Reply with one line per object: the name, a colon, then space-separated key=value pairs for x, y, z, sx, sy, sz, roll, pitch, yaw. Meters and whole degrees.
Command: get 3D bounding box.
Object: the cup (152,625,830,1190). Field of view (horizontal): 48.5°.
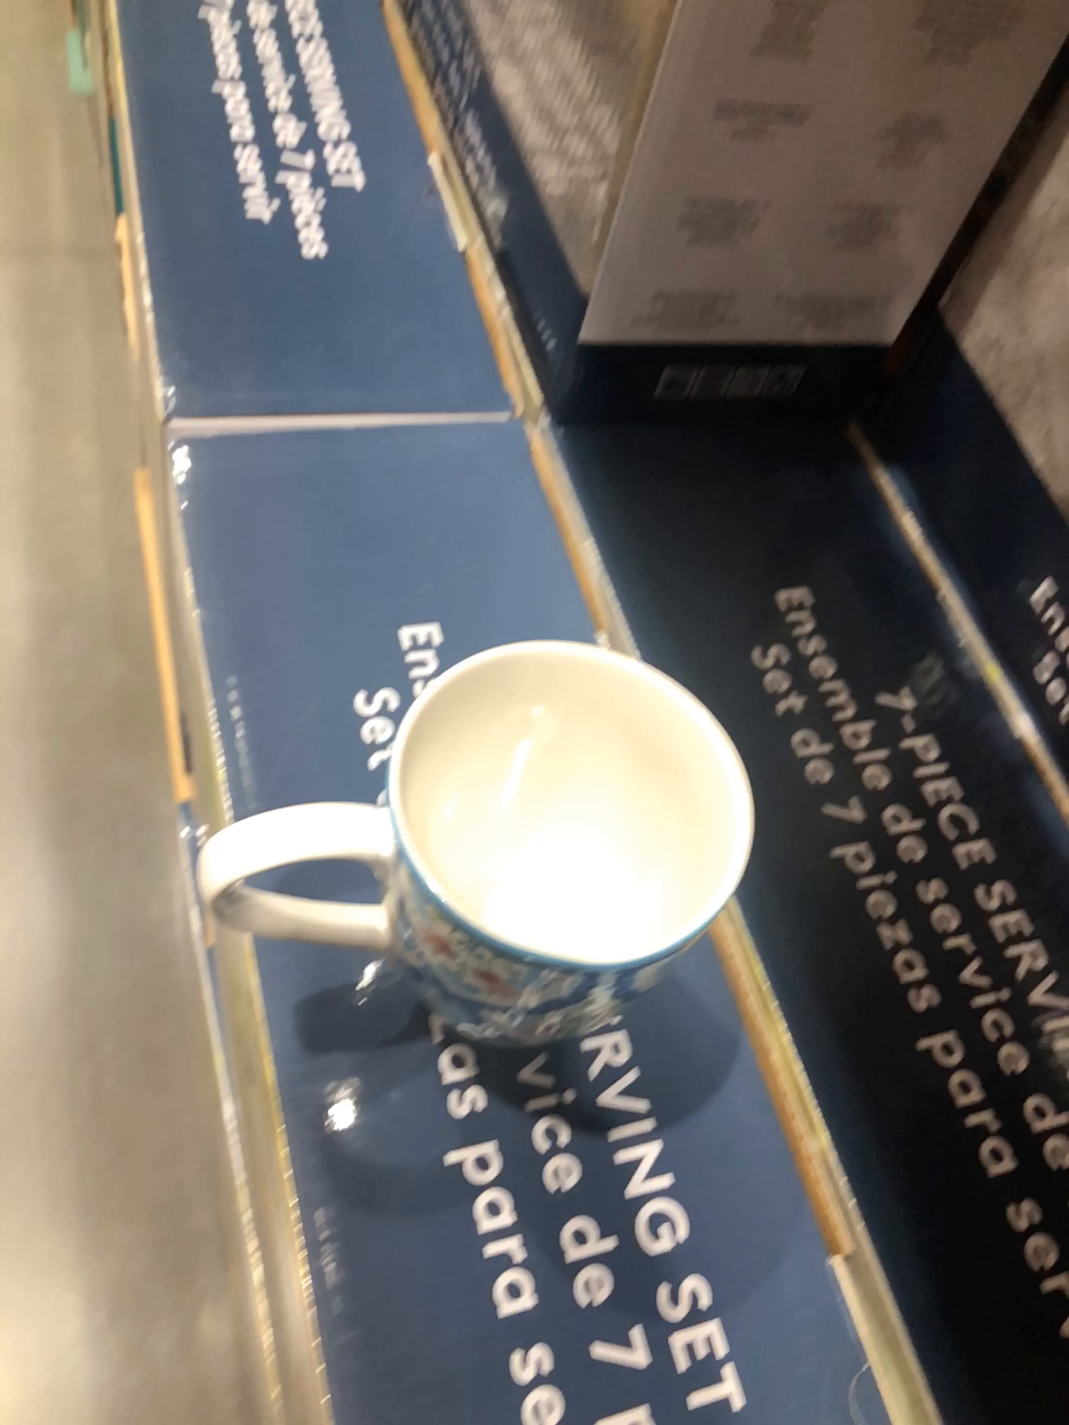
cup: x=-0.020 y=0.049 z=0.306 sx=0.137 sy=0.096 sz=0.090 roll=-7 pitch=59 yaw=-19
